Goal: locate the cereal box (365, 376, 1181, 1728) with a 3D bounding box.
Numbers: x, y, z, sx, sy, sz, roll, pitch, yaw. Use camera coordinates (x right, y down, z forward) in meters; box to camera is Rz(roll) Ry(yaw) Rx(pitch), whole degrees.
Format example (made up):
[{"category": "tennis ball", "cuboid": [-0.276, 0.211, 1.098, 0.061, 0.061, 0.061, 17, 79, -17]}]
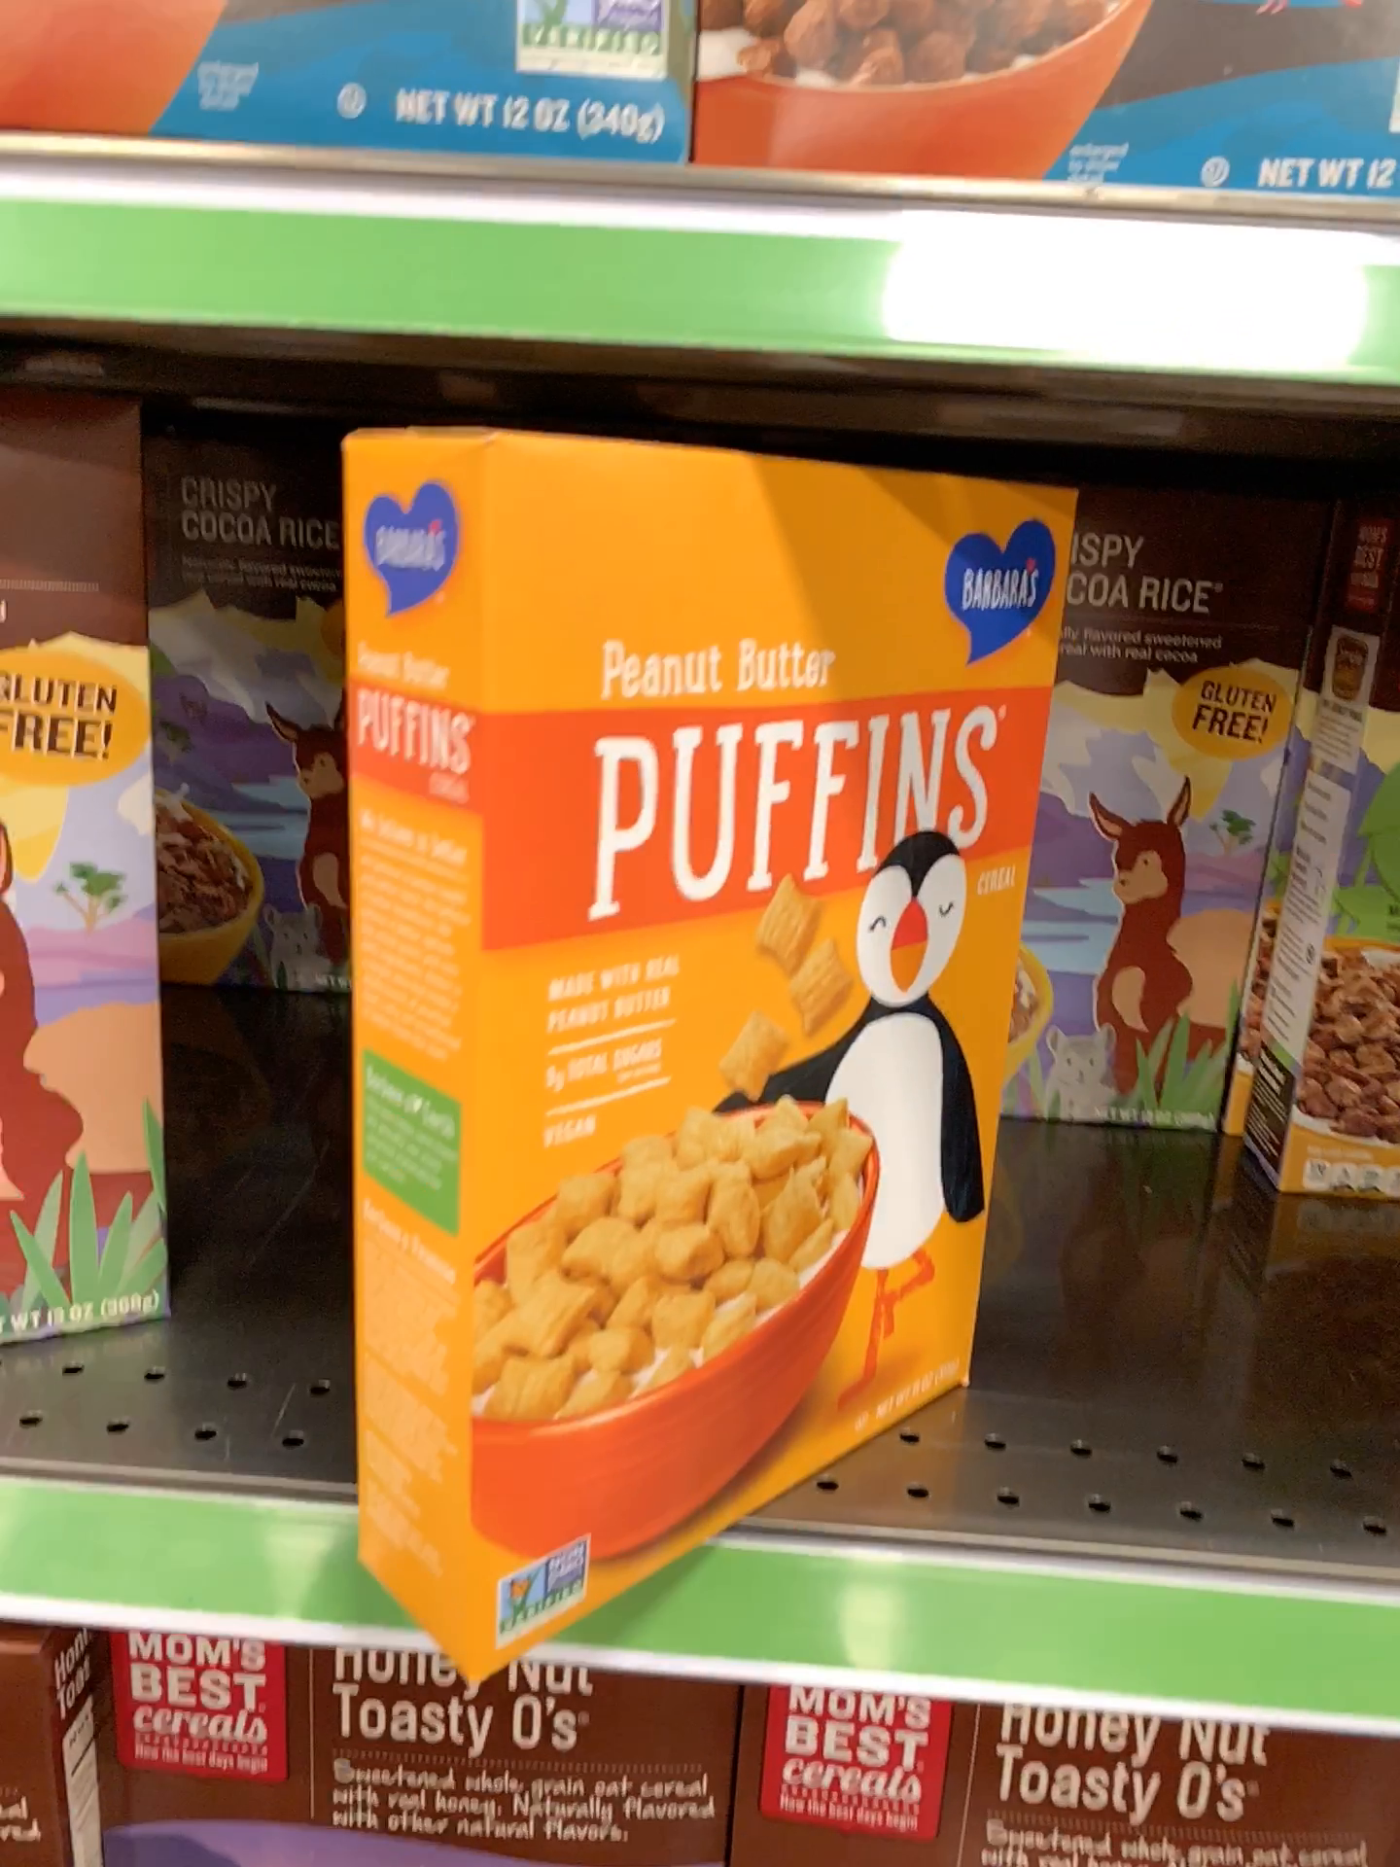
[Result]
[{"category": "cereal box", "cuboid": [0.025, 0.017, 0.376, 0.220, 0.279, 0.060, -11, 20, -43]}]
